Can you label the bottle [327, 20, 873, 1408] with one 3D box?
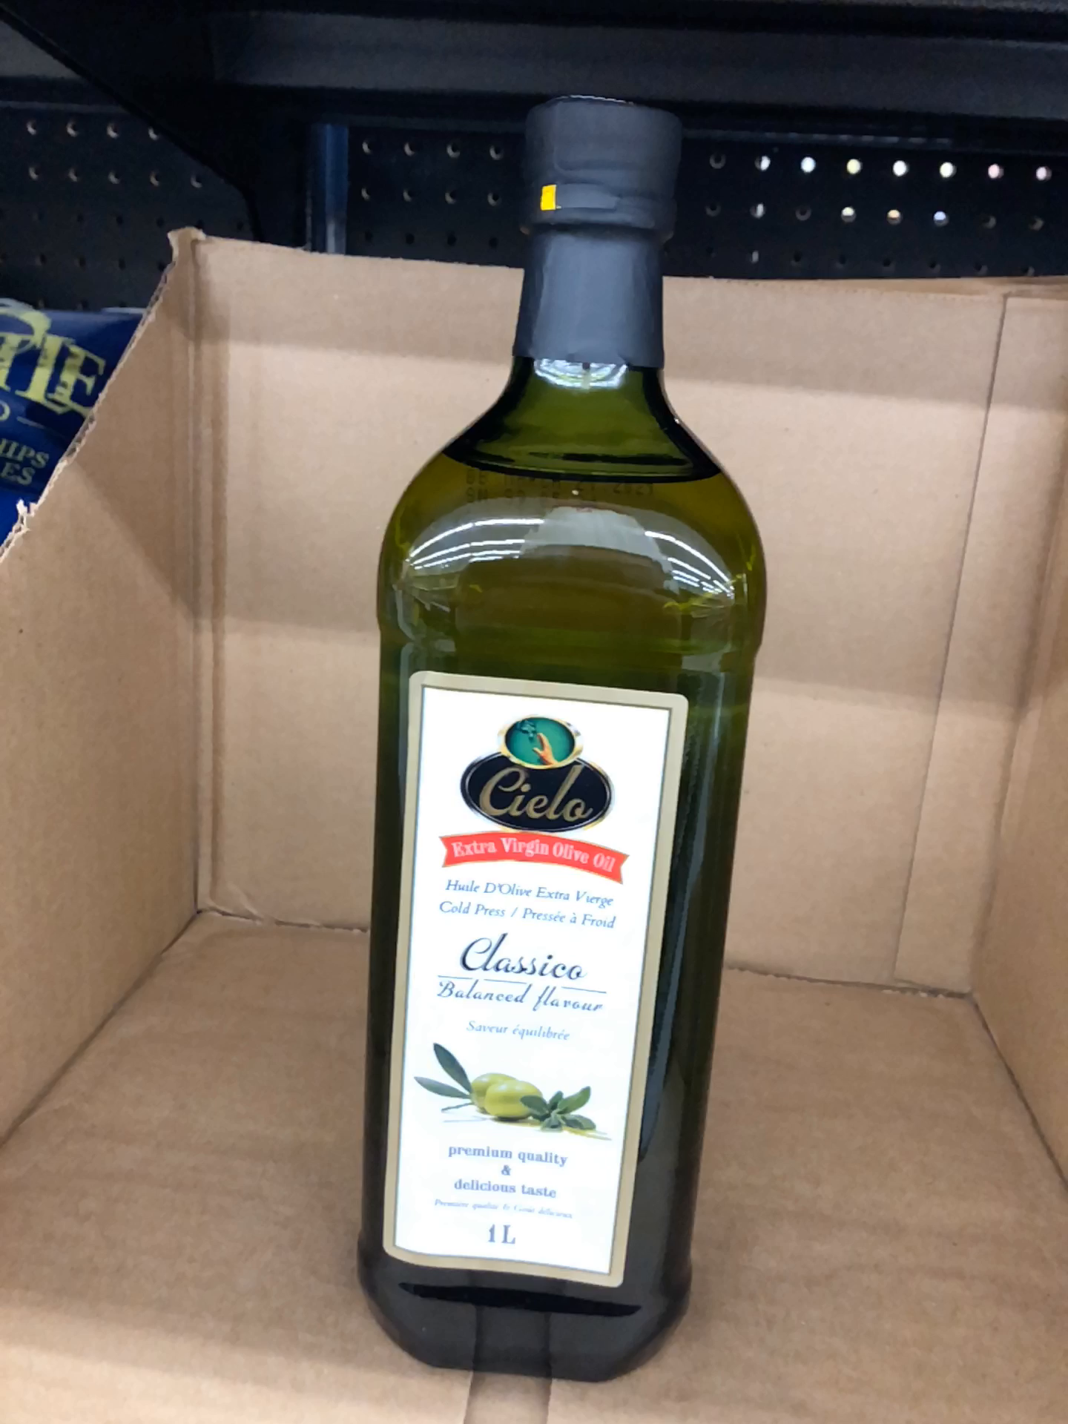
[{"bbox_3d":[0.006,0.012,0.278,0.090,0.288,0.080,4,18,4],"label":"bottle"}]
